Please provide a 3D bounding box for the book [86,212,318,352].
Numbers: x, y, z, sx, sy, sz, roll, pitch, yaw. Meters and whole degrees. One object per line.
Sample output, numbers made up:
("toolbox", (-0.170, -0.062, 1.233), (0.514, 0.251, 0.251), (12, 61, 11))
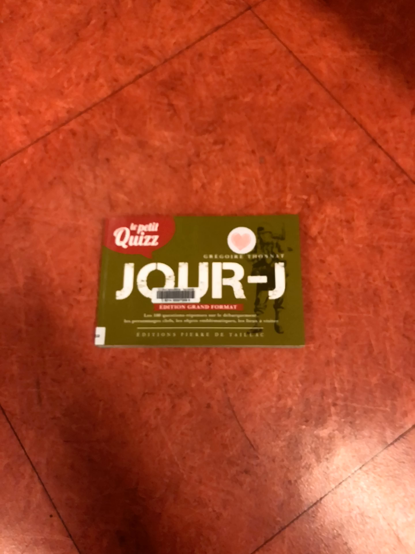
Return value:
("book", (-0.006, 0.003, 0.461), (0.218, 0.016, 0.137), (-1, 73, 1))
